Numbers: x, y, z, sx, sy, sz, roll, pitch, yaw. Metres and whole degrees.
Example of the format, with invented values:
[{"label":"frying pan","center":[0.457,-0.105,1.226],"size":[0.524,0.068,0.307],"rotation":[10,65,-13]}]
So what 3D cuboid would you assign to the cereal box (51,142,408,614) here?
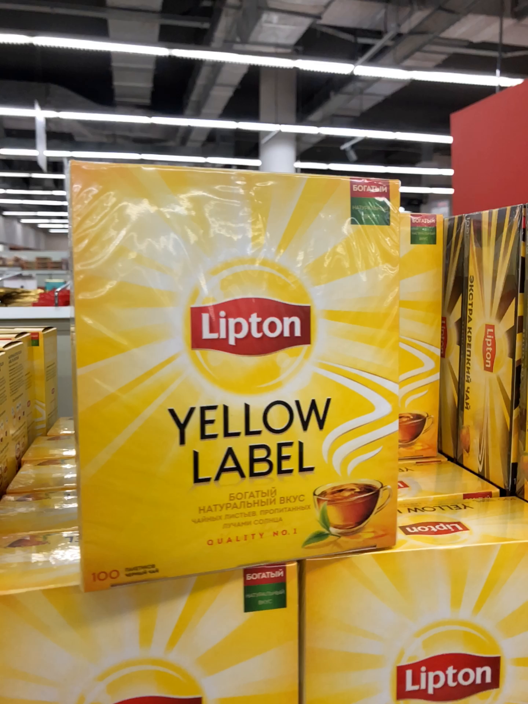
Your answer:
[{"label":"cereal box","center":[-0.017,0.007,0.262],"size":[0.140,0.170,0.070],"rotation":[-2,5,-17]}]
